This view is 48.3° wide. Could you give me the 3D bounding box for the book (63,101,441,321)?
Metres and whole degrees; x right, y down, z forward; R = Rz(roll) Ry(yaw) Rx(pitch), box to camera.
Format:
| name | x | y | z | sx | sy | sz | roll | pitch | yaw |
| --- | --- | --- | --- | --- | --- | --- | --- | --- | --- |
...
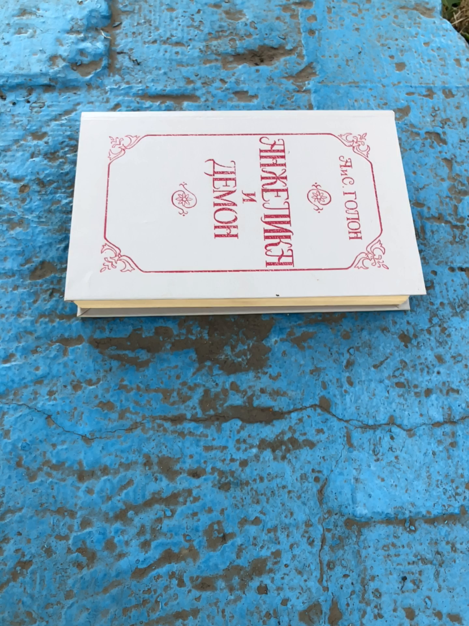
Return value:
| name | x | y | z | sx | sy | sz | roll | pitch | yaw |
| --- | --- | --- | --- | --- | --- | --- | --- | --- | --- |
| book | 0.009 | -0.067 | 0.332 | 0.211 | 0.032 | 0.140 | -1 | 69 | -2 |
